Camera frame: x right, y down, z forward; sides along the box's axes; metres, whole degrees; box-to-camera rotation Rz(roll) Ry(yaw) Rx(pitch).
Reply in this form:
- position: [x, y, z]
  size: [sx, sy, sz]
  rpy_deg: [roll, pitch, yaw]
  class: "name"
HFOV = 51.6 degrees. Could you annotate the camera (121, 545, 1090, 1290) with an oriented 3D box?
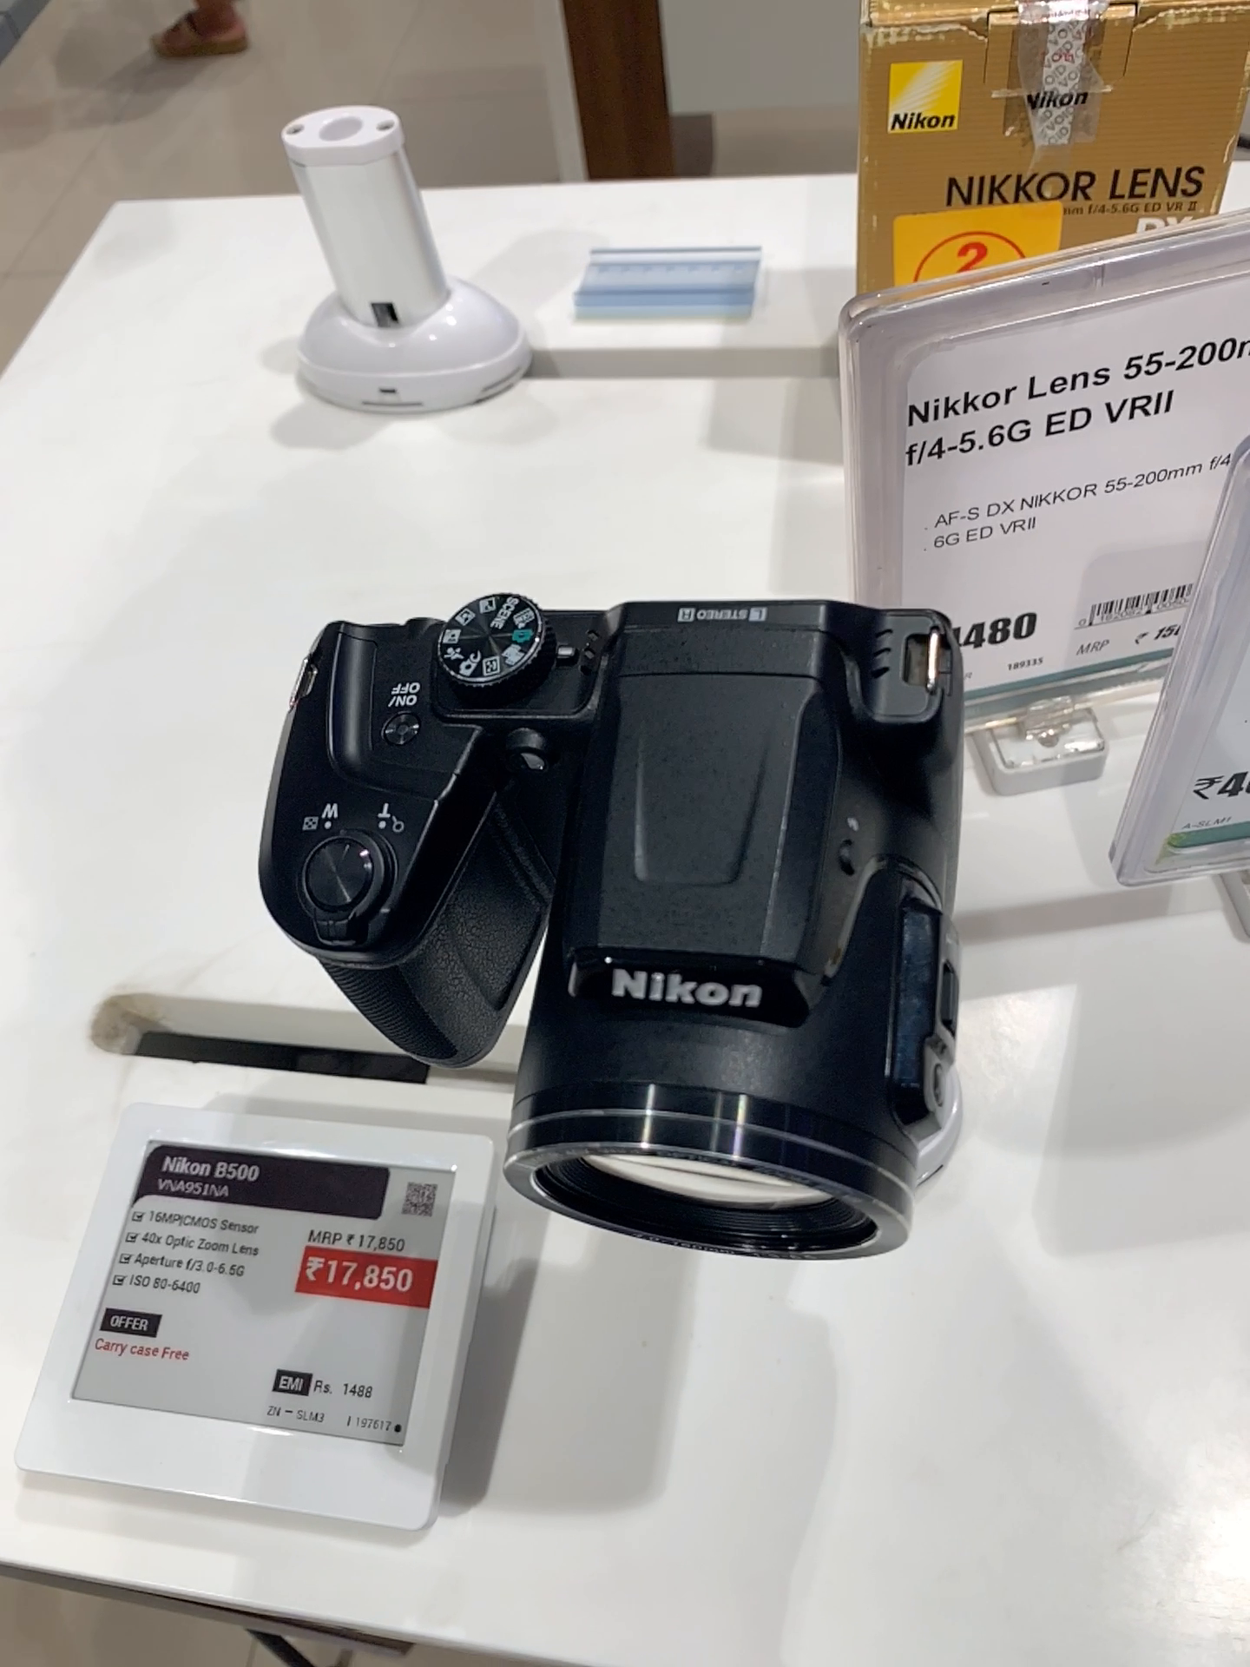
- position: [0.004, 0.013, 0.196]
  size: [0.113, 0.070, 0.084]
  rpy_deg: [3, 62, 11]
  class: "camera"
